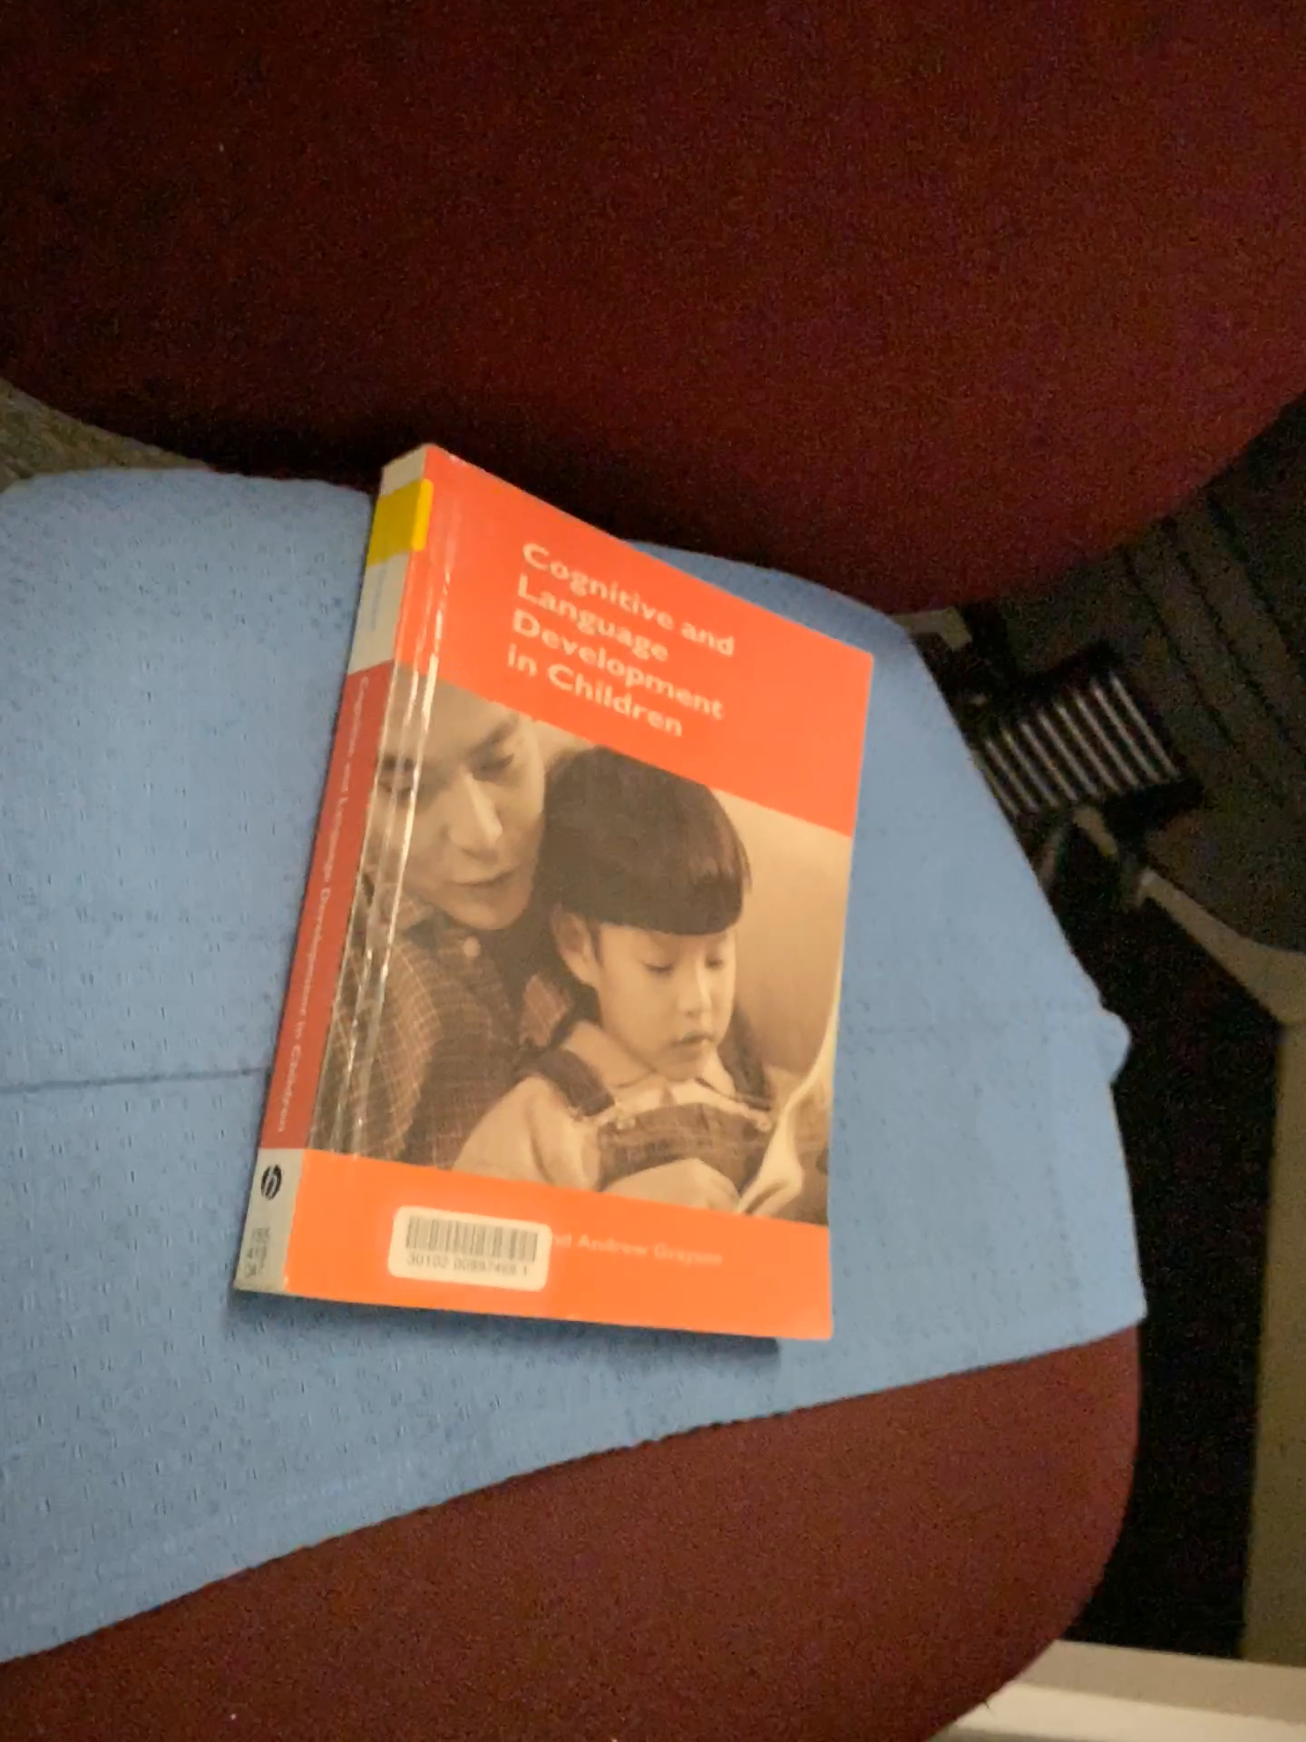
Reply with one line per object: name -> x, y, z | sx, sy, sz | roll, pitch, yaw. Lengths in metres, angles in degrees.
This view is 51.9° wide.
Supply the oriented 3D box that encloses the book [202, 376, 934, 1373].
book -> -0.010, 0.011, 0.436 | 0.201, 0.060, 0.271 | 16, 71, -30
